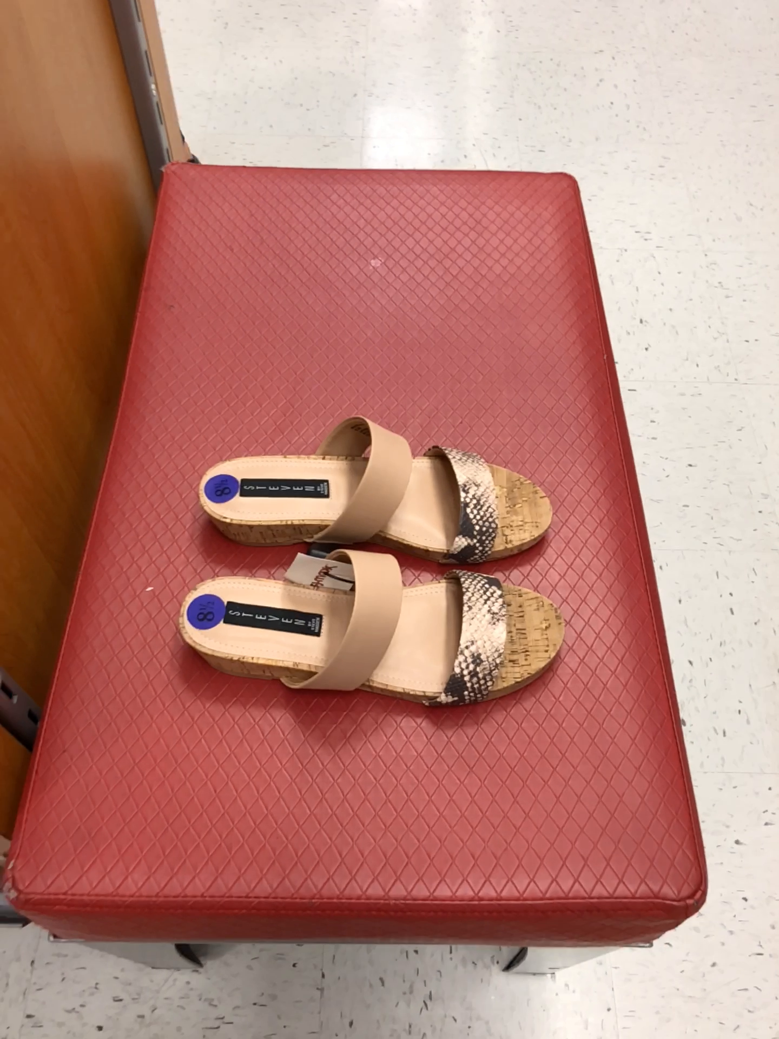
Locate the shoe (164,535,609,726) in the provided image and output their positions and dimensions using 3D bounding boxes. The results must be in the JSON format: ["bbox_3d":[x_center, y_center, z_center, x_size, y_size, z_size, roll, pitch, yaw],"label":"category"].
[{"bbox_3d":[-0.003,0.073,0.556,0.257,0.085,0.095,0,57,-1],"label":"shoe"}]

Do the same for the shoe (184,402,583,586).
[{"bbox_3d":[-0.004,-0.017,0.611,0.257,0.085,0.096,1,57,-1],"label":"shoe"}]
